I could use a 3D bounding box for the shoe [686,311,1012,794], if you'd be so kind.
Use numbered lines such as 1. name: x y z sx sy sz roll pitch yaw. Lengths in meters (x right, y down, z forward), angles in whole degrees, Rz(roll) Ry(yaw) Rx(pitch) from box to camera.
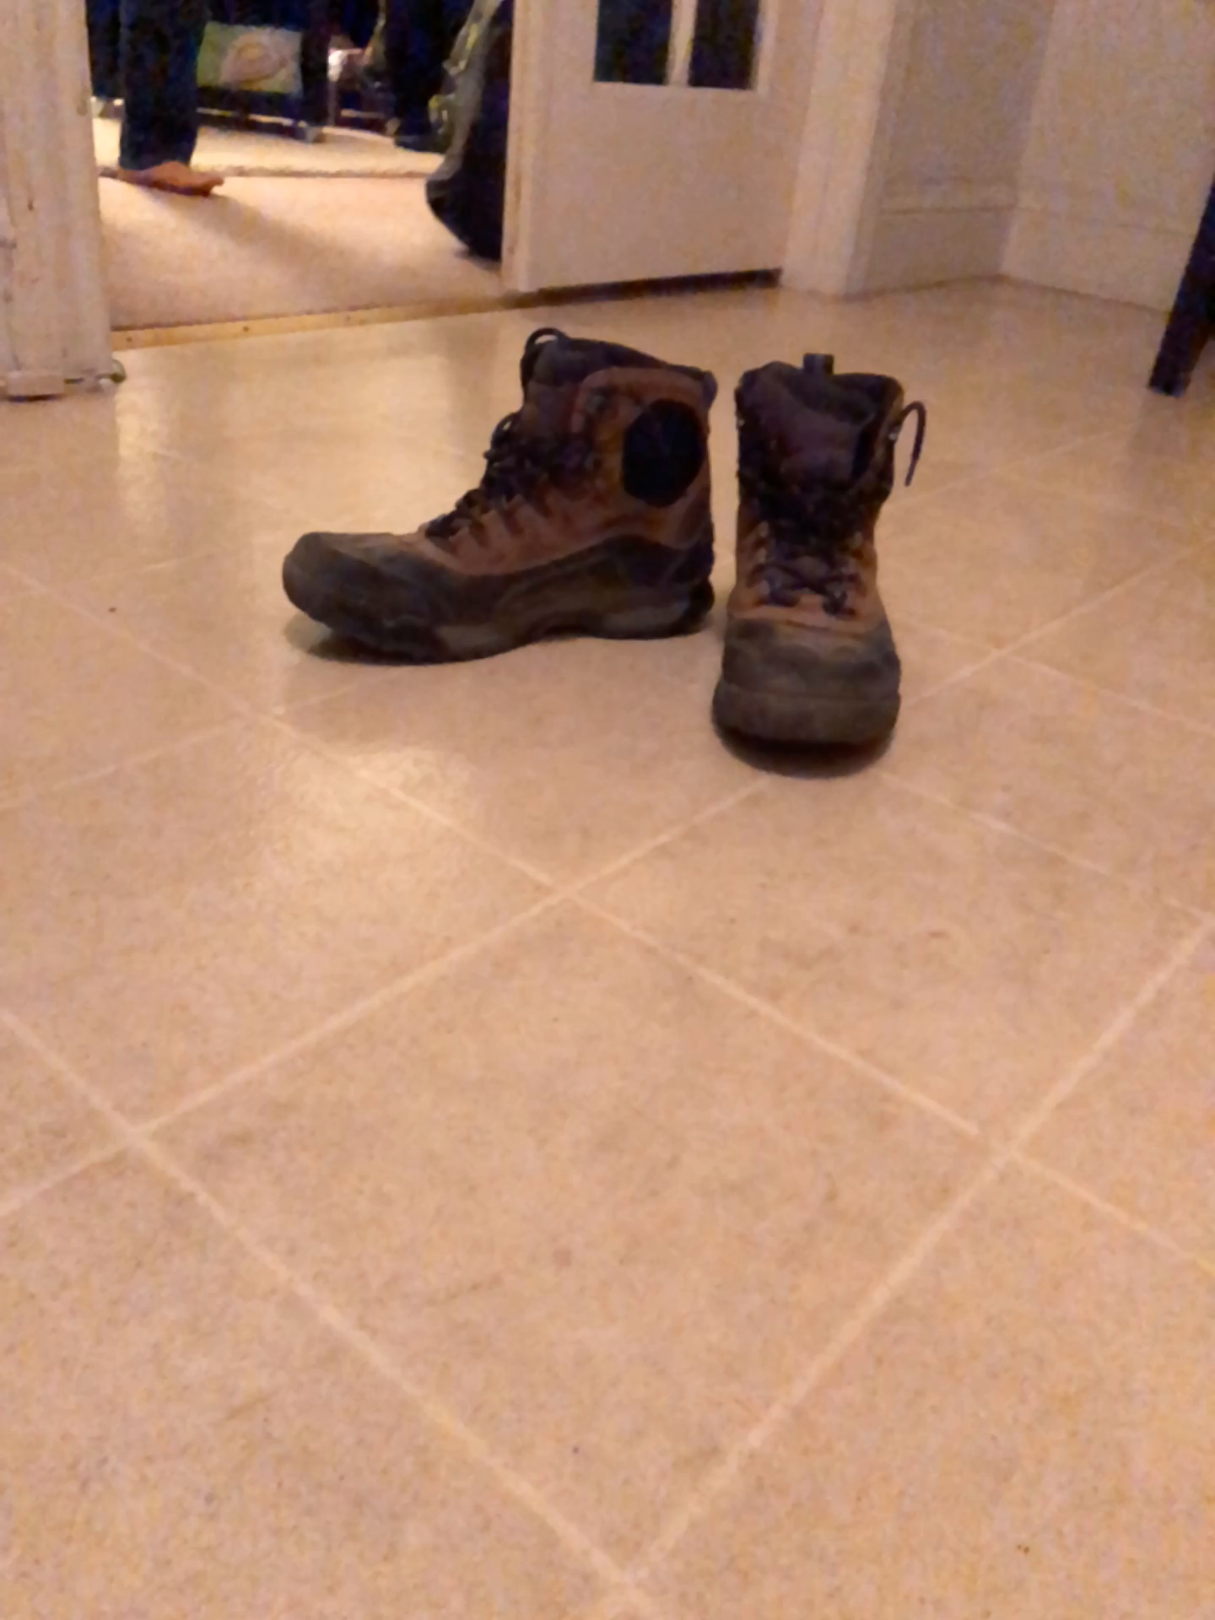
1. shoe: 0.124 -0.169 0.803 0.121 0.185 0.301 5 30 -2

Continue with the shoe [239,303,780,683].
1. shoe: -0.062 -0.200 0.822 0.293 0.185 0.114 -8 33 -23
